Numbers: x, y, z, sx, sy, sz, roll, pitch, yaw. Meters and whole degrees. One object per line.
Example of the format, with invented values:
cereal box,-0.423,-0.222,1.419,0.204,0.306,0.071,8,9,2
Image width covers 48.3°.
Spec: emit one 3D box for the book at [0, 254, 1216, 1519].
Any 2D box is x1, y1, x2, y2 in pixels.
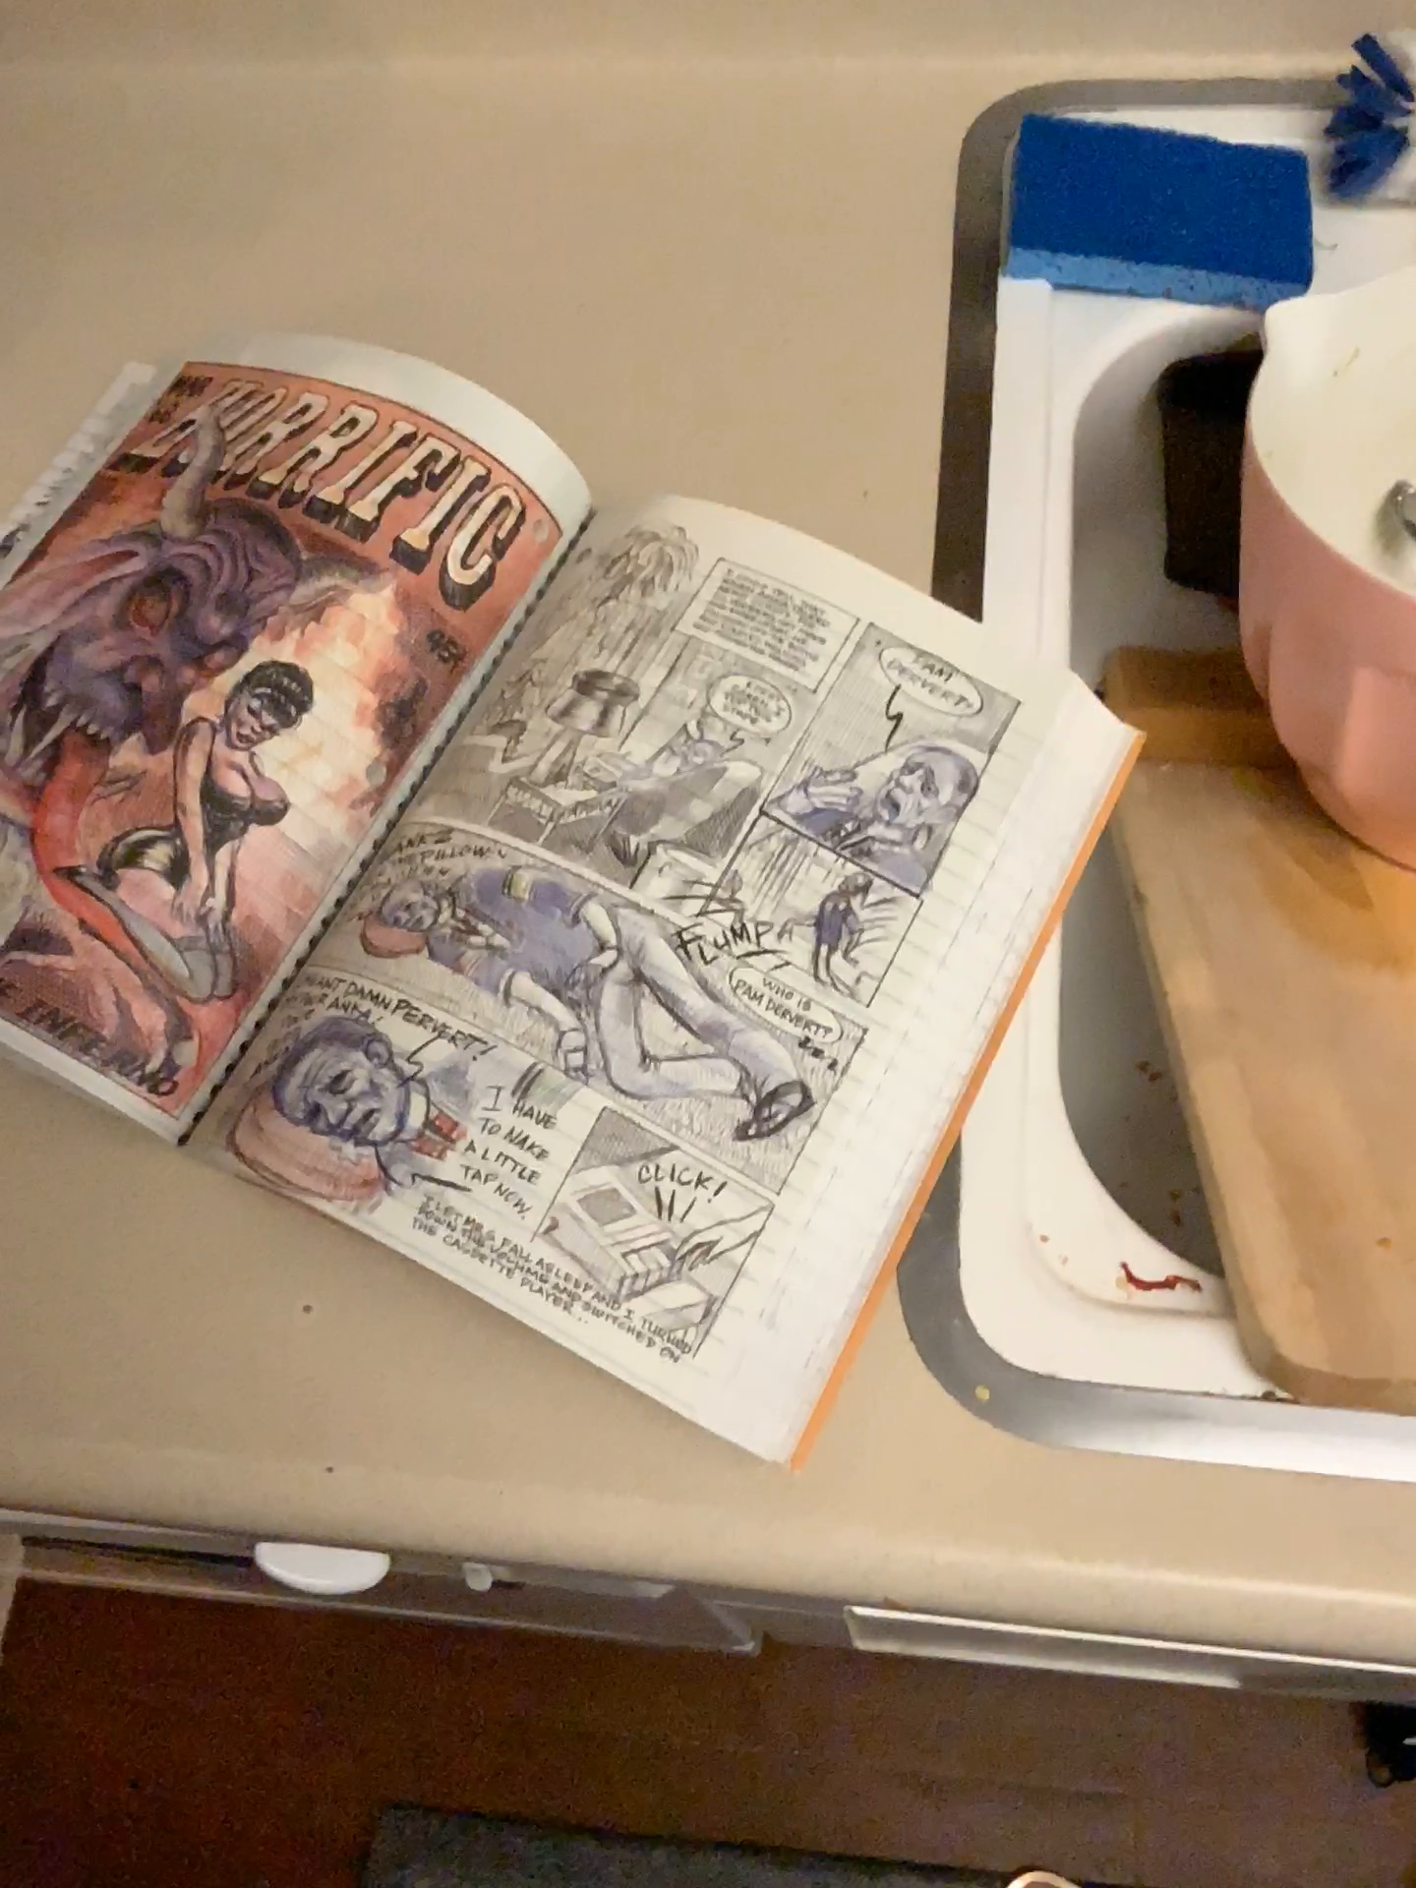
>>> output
book,-0.098,-0.052,0.507,0.430,0.050,0.280,23,69,15
